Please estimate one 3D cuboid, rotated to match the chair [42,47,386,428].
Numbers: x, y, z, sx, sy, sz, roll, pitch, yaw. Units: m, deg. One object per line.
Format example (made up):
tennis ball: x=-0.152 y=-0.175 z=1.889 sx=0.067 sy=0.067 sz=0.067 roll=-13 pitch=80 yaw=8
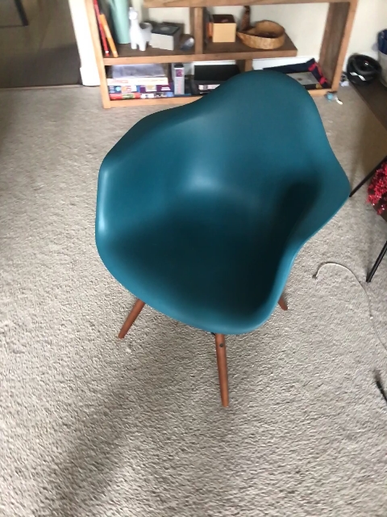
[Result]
chair: x=0.063 y=-0.061 z=1.231 sx=0.580 sy=0.784 sz=0.564 roll=28 pitch=51 yaw=23
